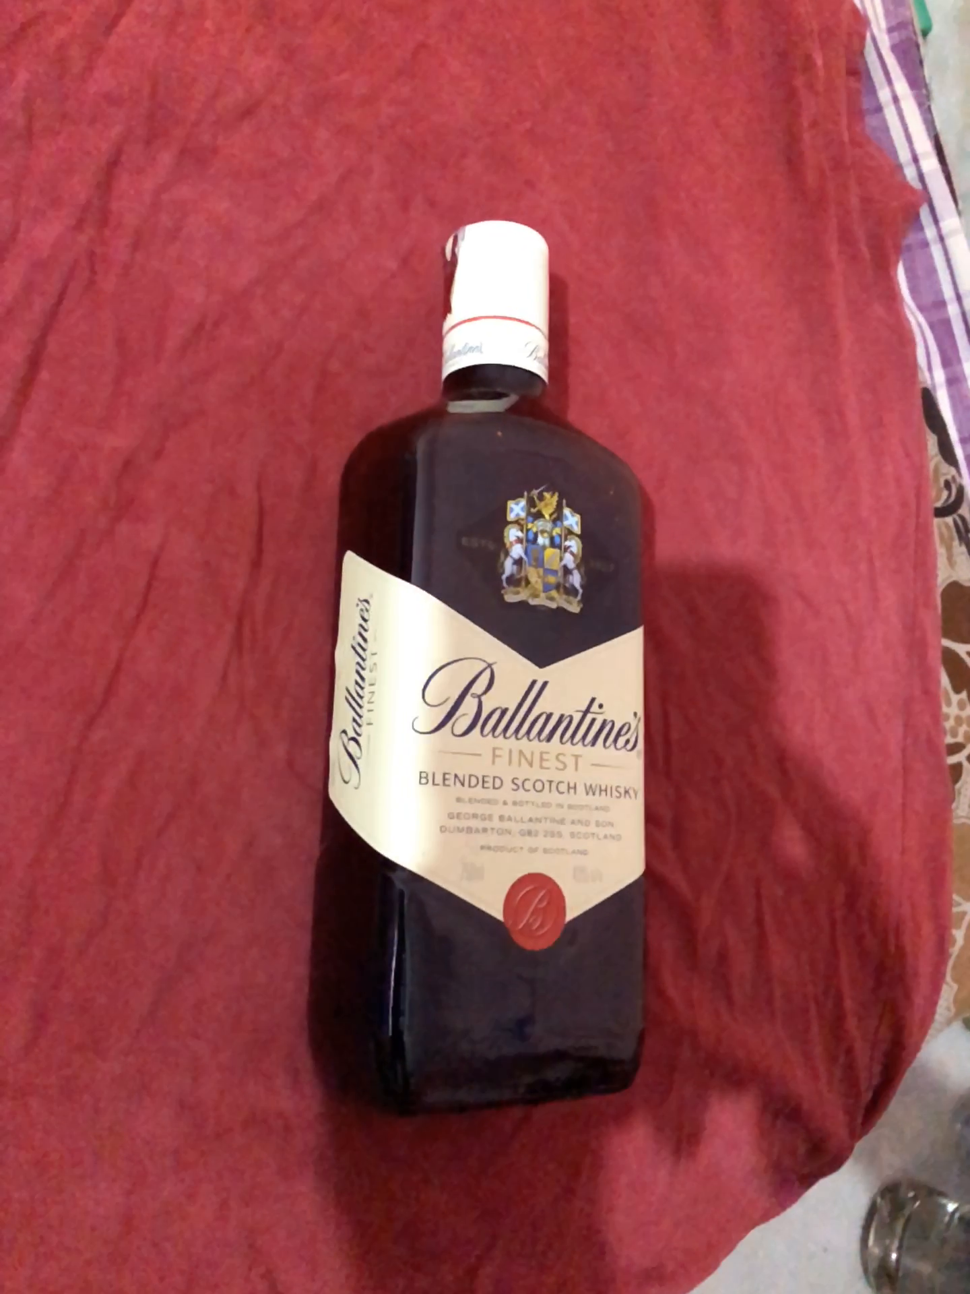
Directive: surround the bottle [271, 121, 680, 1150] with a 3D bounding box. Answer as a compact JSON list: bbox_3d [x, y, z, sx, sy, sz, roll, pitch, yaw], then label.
[{"bbox_3d":[0.002,-0.004,0.303,0.090,0.050,0.250,9,79,-33],"label":"bottle"}]
